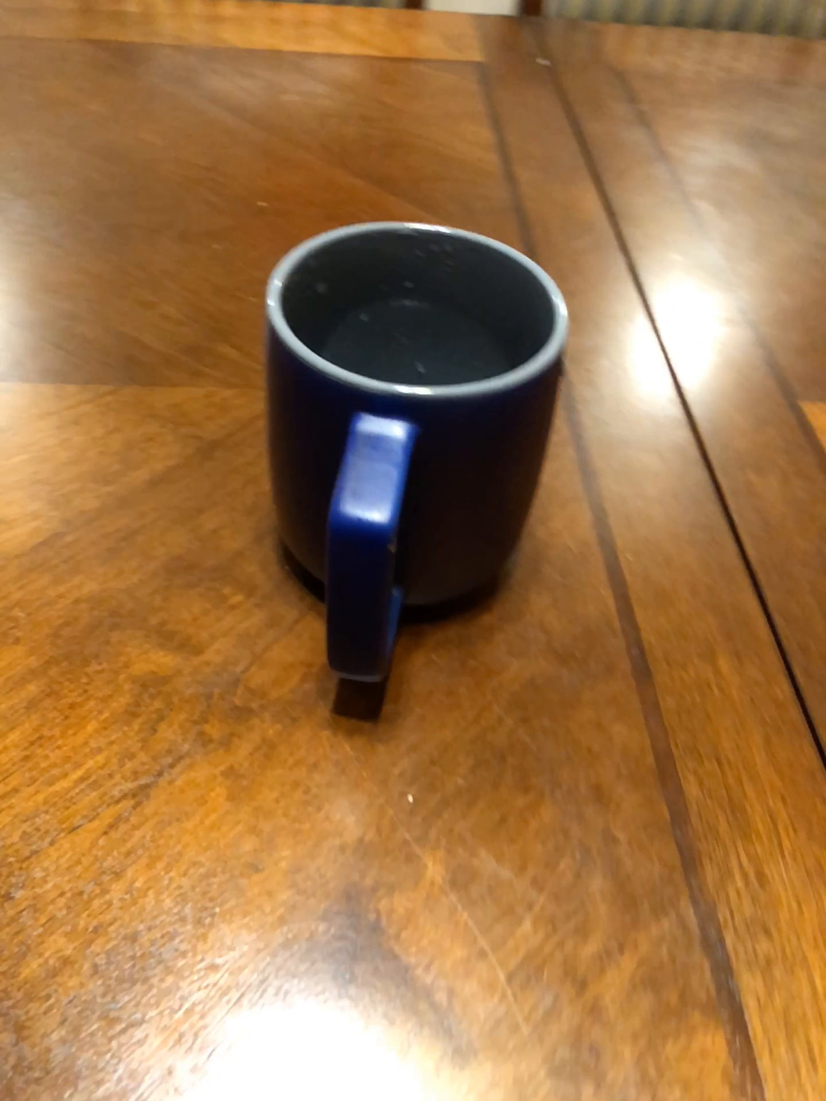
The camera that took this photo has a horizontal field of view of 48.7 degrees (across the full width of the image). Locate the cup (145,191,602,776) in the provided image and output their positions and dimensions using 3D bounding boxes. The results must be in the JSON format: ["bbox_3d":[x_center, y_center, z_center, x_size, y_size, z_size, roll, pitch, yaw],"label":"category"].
[{"bbox_3d":[-0.003,-0.025,0.286,0.100,0.099,0.141,10,48,3],"label":"cup"}]

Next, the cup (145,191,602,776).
[{"bbox_3d":[-0.003,-0.025,0.286,0.100,0.099,0.141,10,48,3],"label":"cup"}]
